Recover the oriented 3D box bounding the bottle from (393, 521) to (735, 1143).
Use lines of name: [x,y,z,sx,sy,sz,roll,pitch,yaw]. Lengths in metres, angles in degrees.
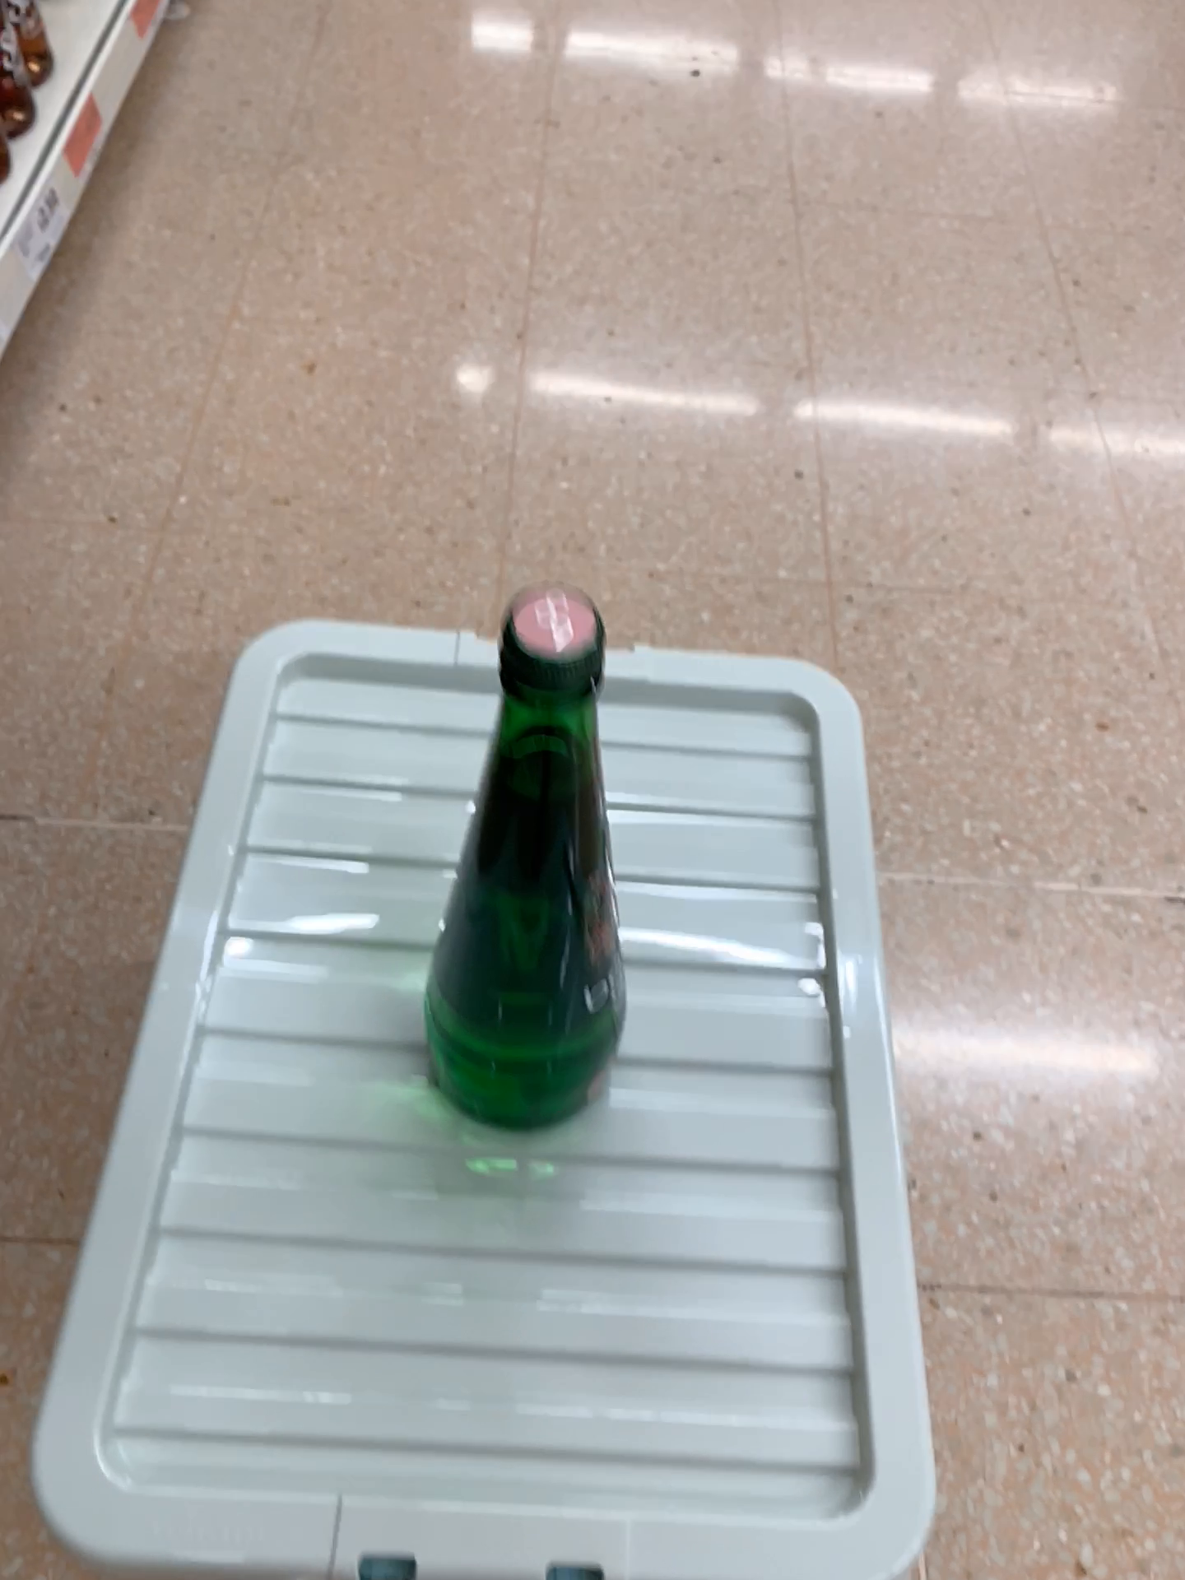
bottle: [-0.017,0.041,0.447,0.085,0.287,0.091,2,57,-4]
